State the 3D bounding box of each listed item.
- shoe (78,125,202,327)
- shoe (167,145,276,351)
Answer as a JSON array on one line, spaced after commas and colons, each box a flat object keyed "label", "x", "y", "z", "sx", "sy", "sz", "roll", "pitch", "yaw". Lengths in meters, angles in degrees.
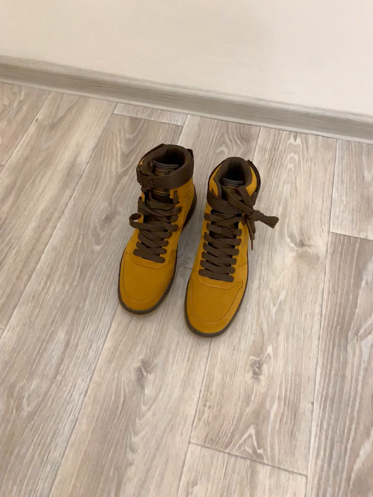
[{"label": "shoe", "x": -0.057, "y": -0.039, "z": 0.615, "sx": 0.101, "sy": 0.140, "sz": 0.281, "roll": 12, "pitch": 61, "yaw": 7}, {"label": "shoe", "x": 0.058, "y": -0.004, "z": 0.604, "sx": 0.101, "sy": 0.140, "sz": 0.281, "roll": 12, "pitch": 61, "yaw": 7}]
